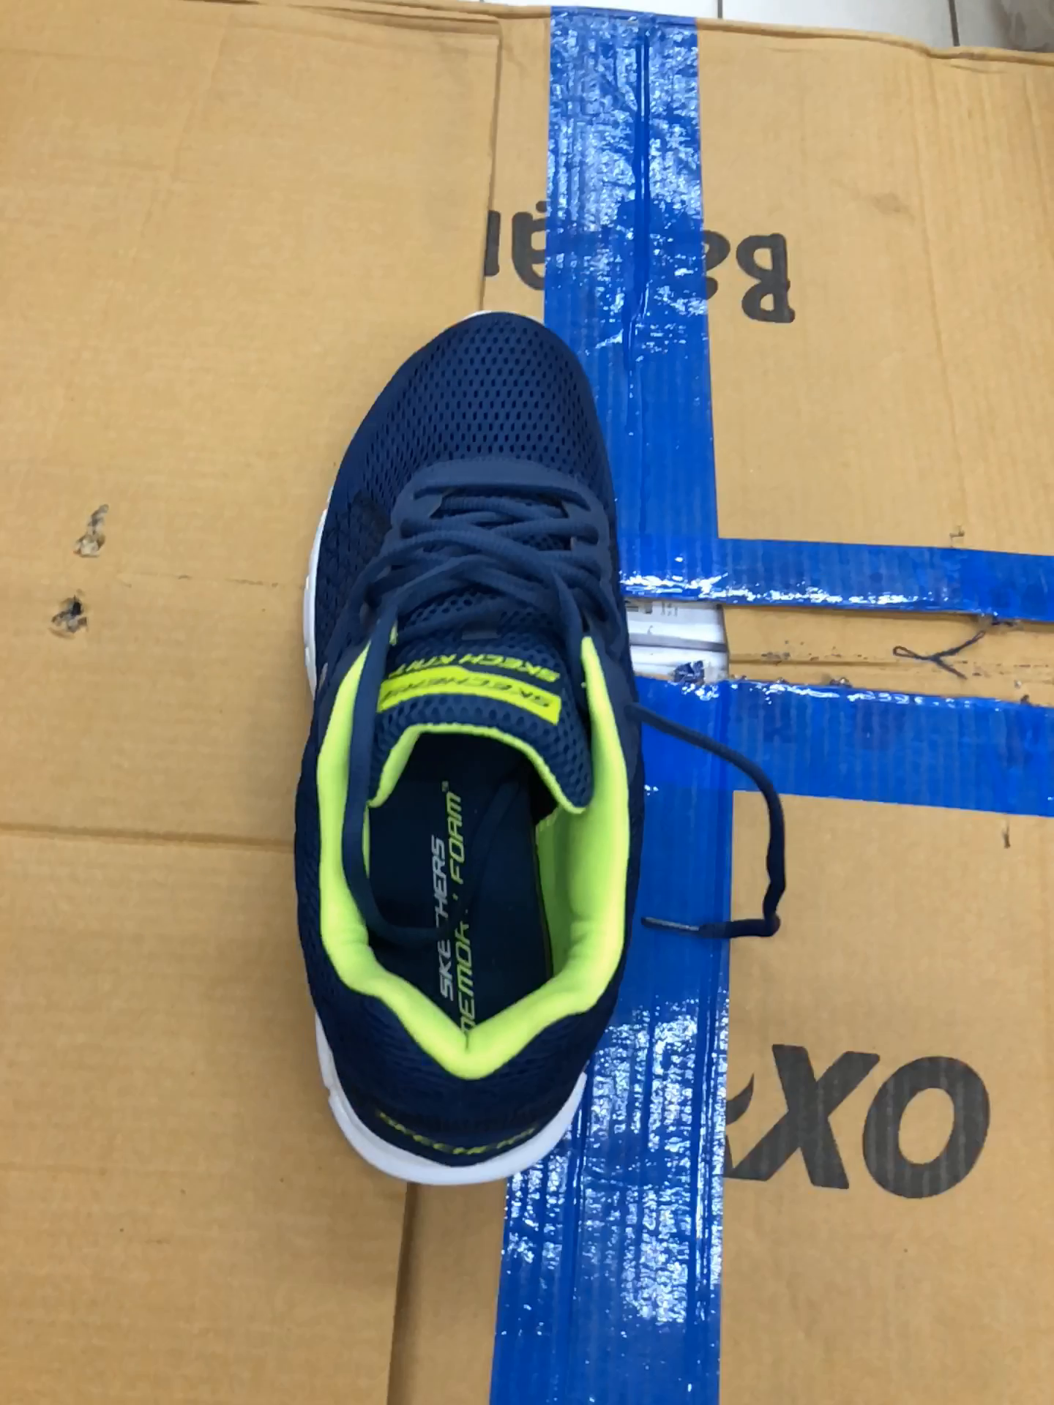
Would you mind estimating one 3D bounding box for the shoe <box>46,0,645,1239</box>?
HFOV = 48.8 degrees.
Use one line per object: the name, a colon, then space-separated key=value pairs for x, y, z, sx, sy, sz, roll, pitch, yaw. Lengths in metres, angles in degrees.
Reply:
shoe: x=-0.034 y=-0.023 z=0.330 sx=0.106 sy=0.146 sz=0.307 roll=2 pitch=69 yaw=-3
